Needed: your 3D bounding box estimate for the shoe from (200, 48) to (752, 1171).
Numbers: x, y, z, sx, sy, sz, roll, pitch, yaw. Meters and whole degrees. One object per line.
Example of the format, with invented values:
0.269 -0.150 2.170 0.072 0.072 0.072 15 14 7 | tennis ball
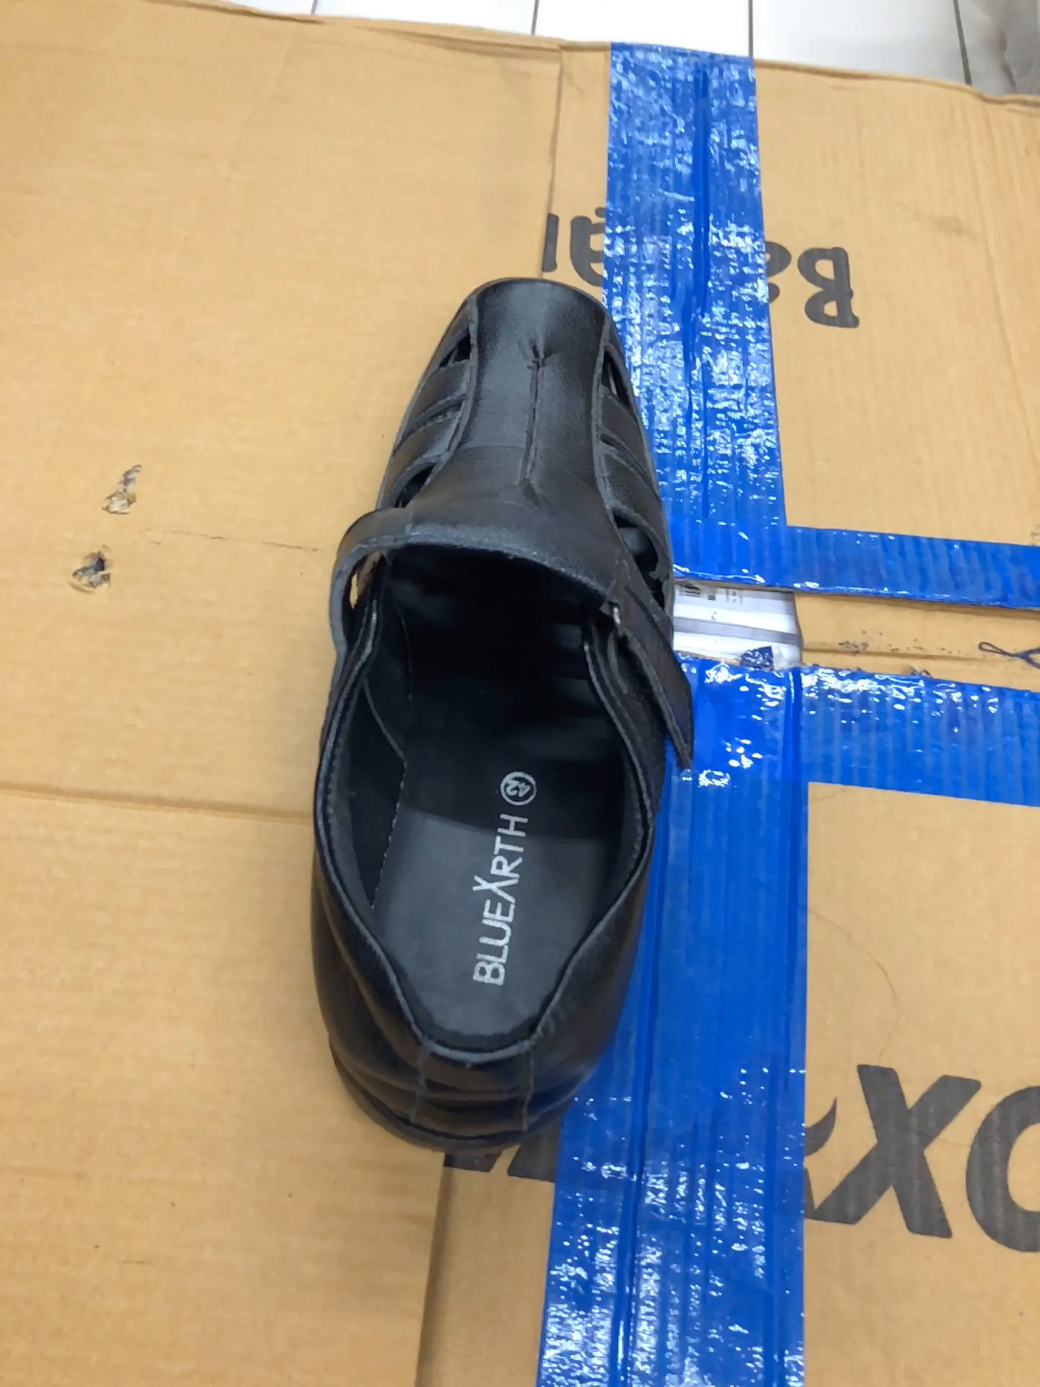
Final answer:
-0.001 -0.038 0.324 0.100 0.097 0.305 5 61 -2 | shoe
